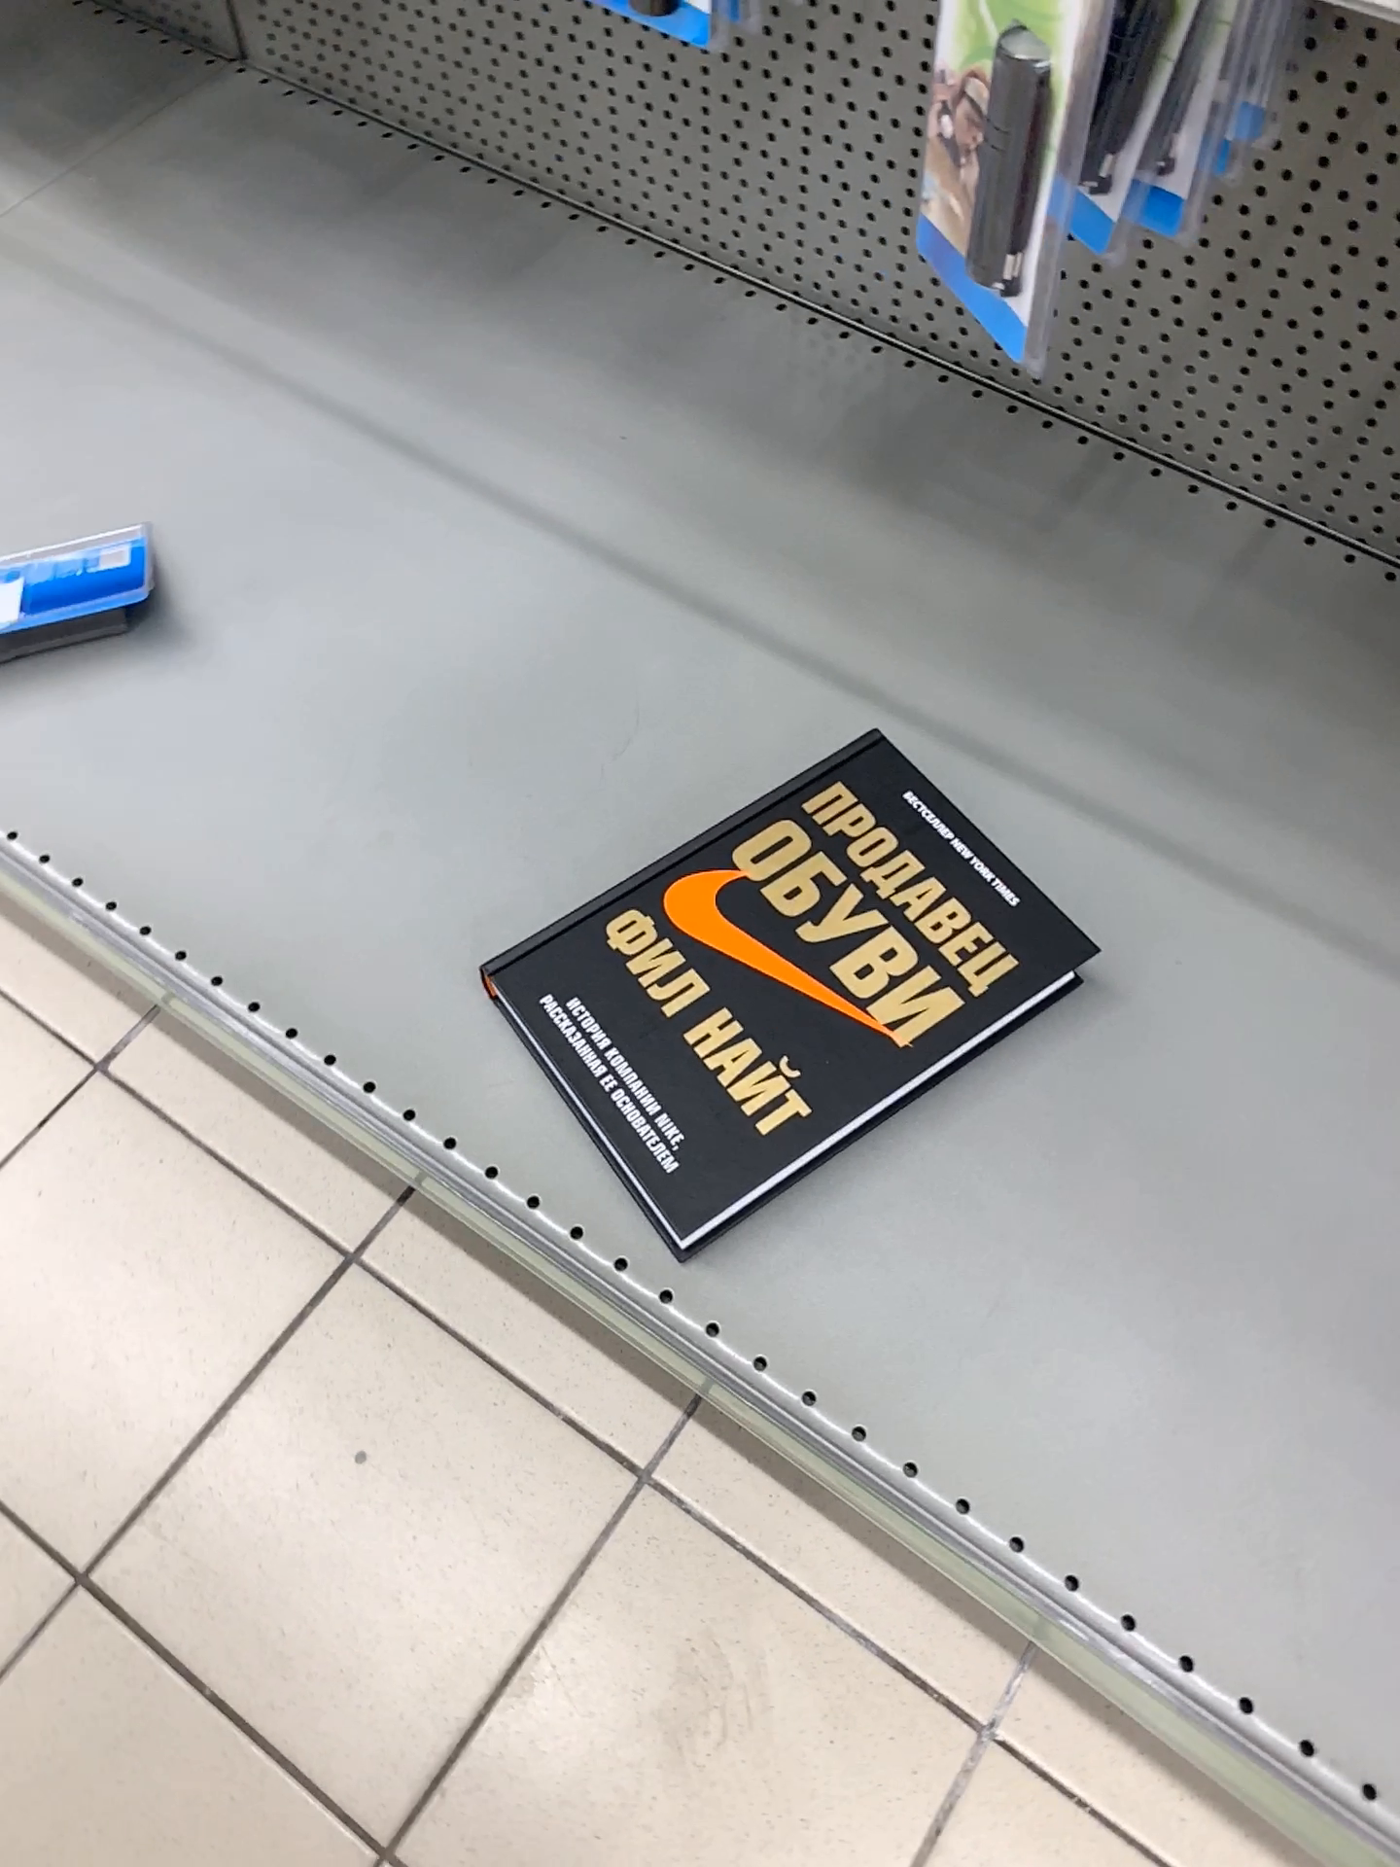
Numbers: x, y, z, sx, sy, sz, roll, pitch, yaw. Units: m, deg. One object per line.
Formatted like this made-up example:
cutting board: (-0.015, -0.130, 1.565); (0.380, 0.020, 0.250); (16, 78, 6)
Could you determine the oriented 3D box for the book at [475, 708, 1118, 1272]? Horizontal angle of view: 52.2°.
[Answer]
book: (0.045, 0.018, 0.687); (0.250, 0.049, 0.166); (-32, 64, -16)
